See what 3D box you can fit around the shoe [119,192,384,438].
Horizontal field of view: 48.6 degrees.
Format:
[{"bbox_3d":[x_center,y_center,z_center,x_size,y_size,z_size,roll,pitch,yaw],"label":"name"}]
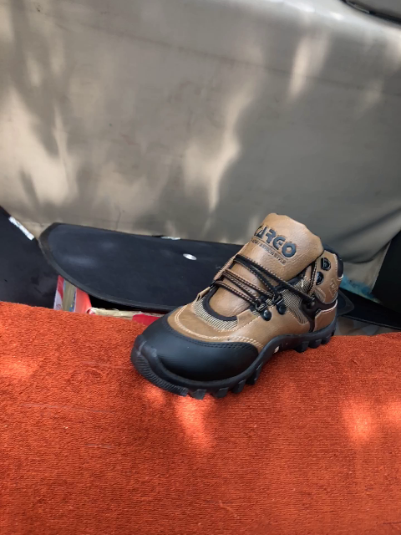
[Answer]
[{"bbox_3d":[0.065,0.023,0.466,0.110,0.149,0.272,30,30,31],"label":"shoe"}]
